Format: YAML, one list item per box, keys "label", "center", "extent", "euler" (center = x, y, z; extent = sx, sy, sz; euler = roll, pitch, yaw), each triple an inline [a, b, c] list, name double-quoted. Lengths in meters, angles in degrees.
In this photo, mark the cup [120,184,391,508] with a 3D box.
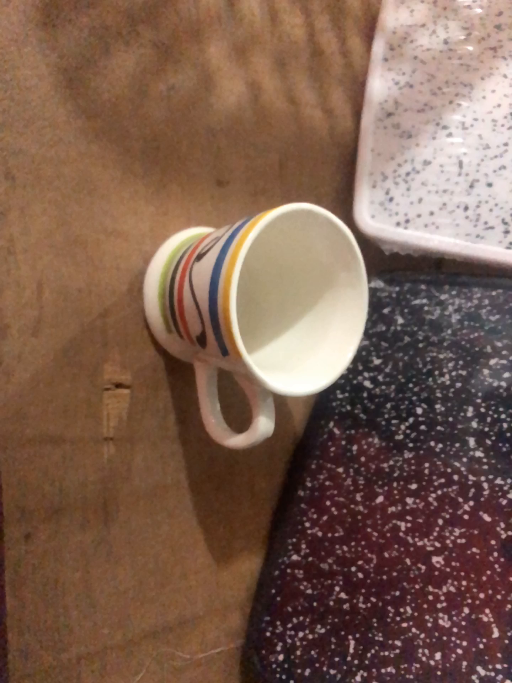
- label: "cup"
  center: [-0.003, 0.001, 0.228]
  extent: [0.060, 0.079, 0.100]
  euler: [5, 91, -39]
